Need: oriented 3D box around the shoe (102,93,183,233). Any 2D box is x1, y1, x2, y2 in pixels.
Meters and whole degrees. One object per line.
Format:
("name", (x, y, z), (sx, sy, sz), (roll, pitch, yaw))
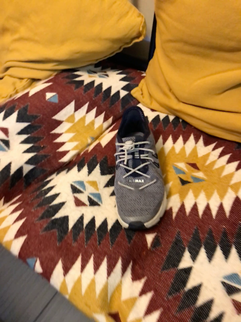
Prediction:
("shoe", (0.032, -0.007, 0.404), (0.094, 0.074, 0.213), (0, 51, 4))
